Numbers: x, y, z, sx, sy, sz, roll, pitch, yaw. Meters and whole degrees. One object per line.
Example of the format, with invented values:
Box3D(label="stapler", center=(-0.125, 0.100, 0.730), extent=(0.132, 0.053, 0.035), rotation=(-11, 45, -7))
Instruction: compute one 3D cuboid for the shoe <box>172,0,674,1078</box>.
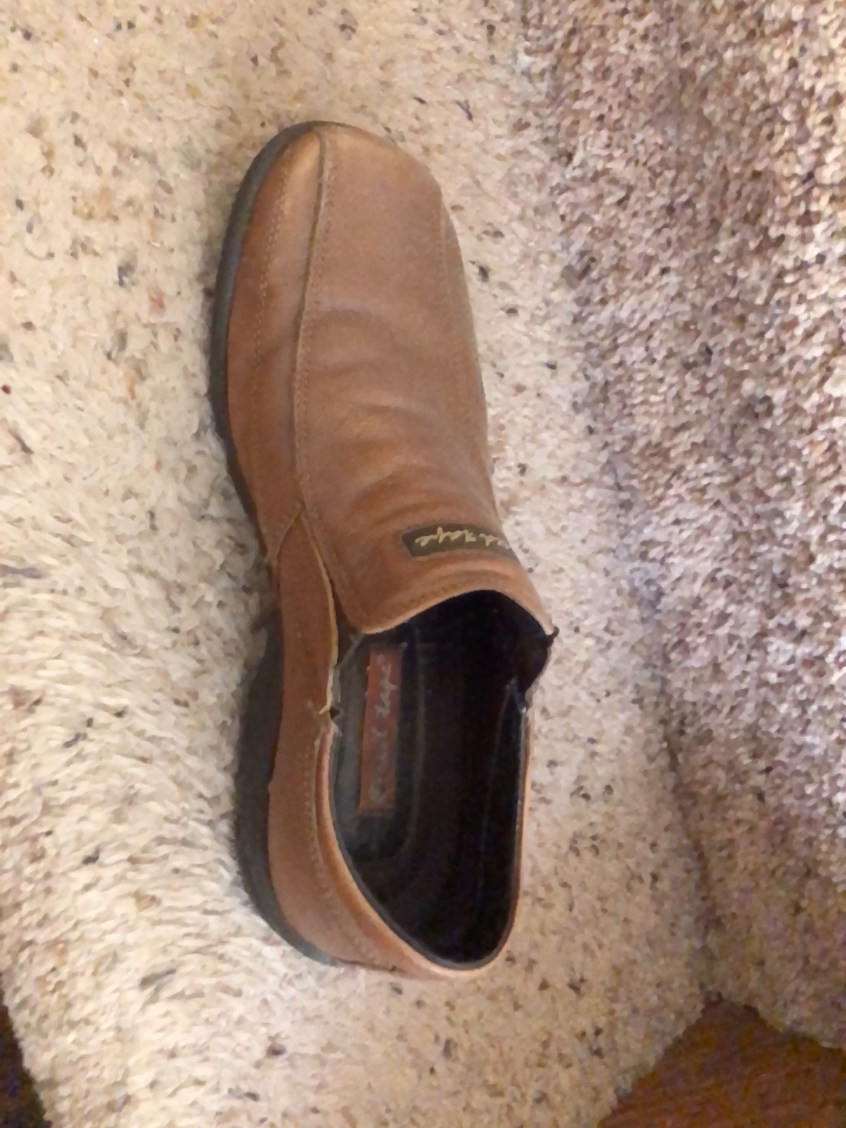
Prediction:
Box3D(label="shoe", center=(-0.005, -0.019, 0.309), extent=(0.111, 0.119, 0.290), rotation=(1, 88, -38))
